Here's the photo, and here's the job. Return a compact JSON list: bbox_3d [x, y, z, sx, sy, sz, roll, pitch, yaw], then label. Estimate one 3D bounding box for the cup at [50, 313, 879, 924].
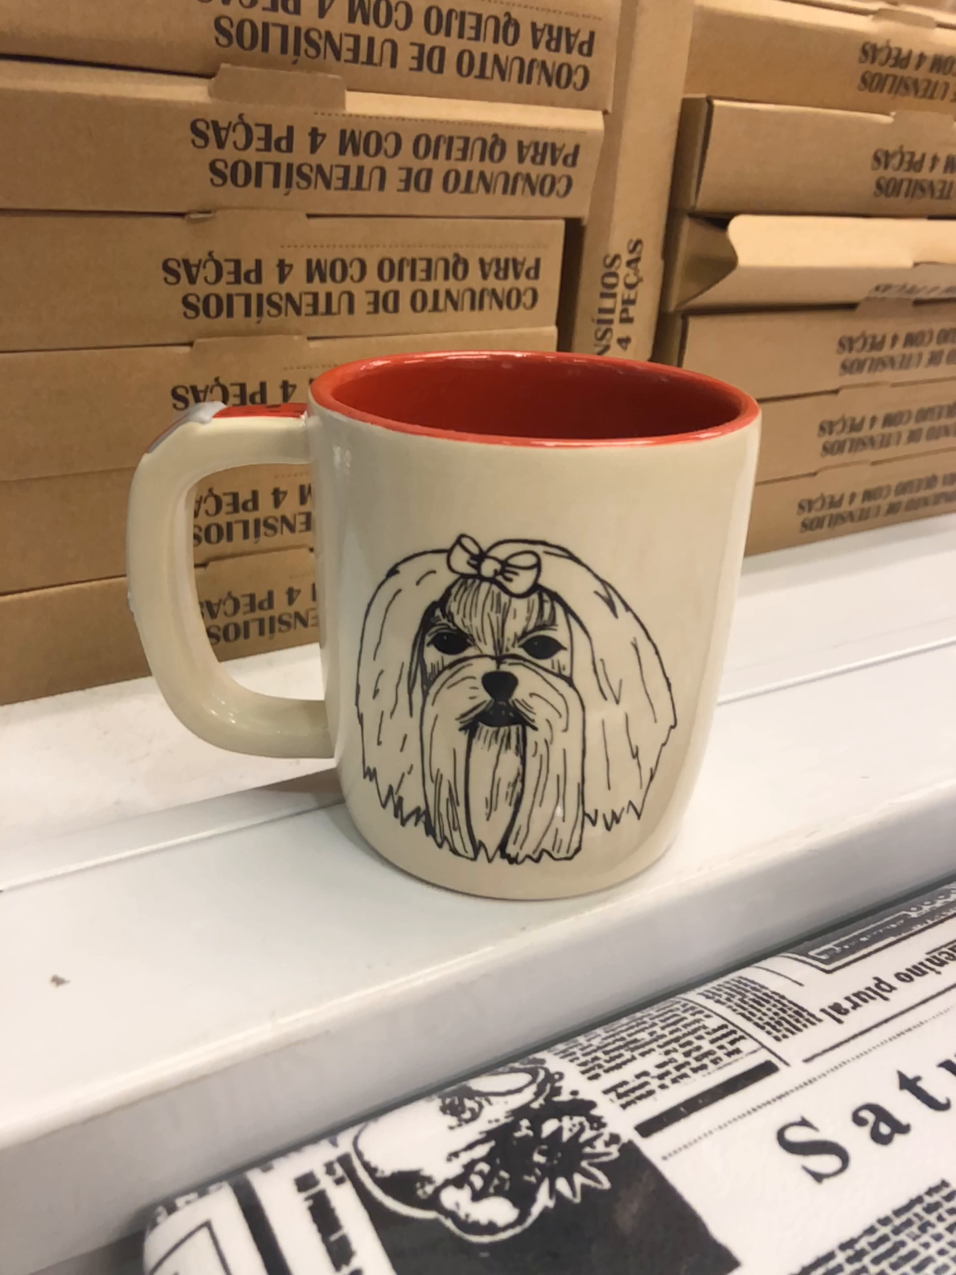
[{"bbox_3d":[-0.005,-0.010,0.213,0.120,0.089,0.091,0,24,-5],"label":"cup"}]
